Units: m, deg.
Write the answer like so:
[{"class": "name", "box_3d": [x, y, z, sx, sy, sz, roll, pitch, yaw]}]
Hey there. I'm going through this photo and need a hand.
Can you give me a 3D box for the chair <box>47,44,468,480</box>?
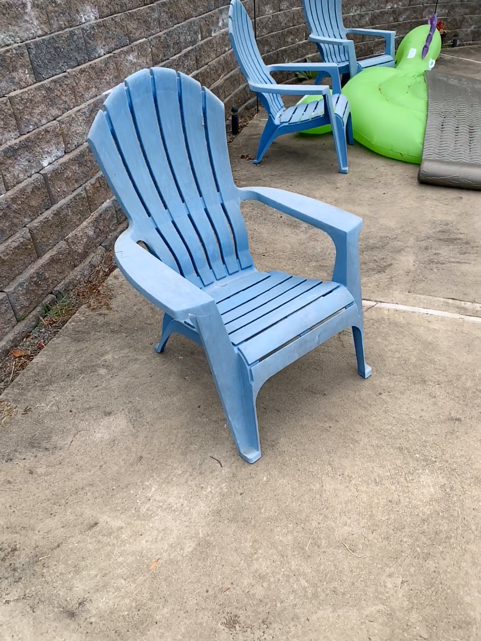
[{"class": "chair", "box_3d": [0.019, -0.233, 1.471, 0.701, 0.885, 0.763, -27, 46, -29]}]
